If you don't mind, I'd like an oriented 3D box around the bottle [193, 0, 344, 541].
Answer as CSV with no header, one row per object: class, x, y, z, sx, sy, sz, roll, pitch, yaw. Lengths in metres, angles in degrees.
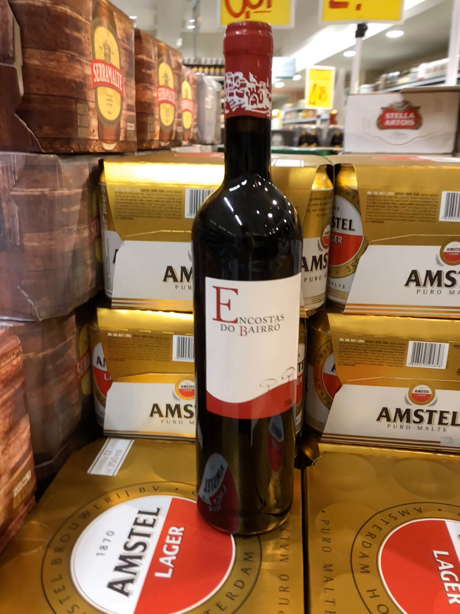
bottle,0.014,-0.009,0.329,0.070,0.318,0.070,1,17,0
